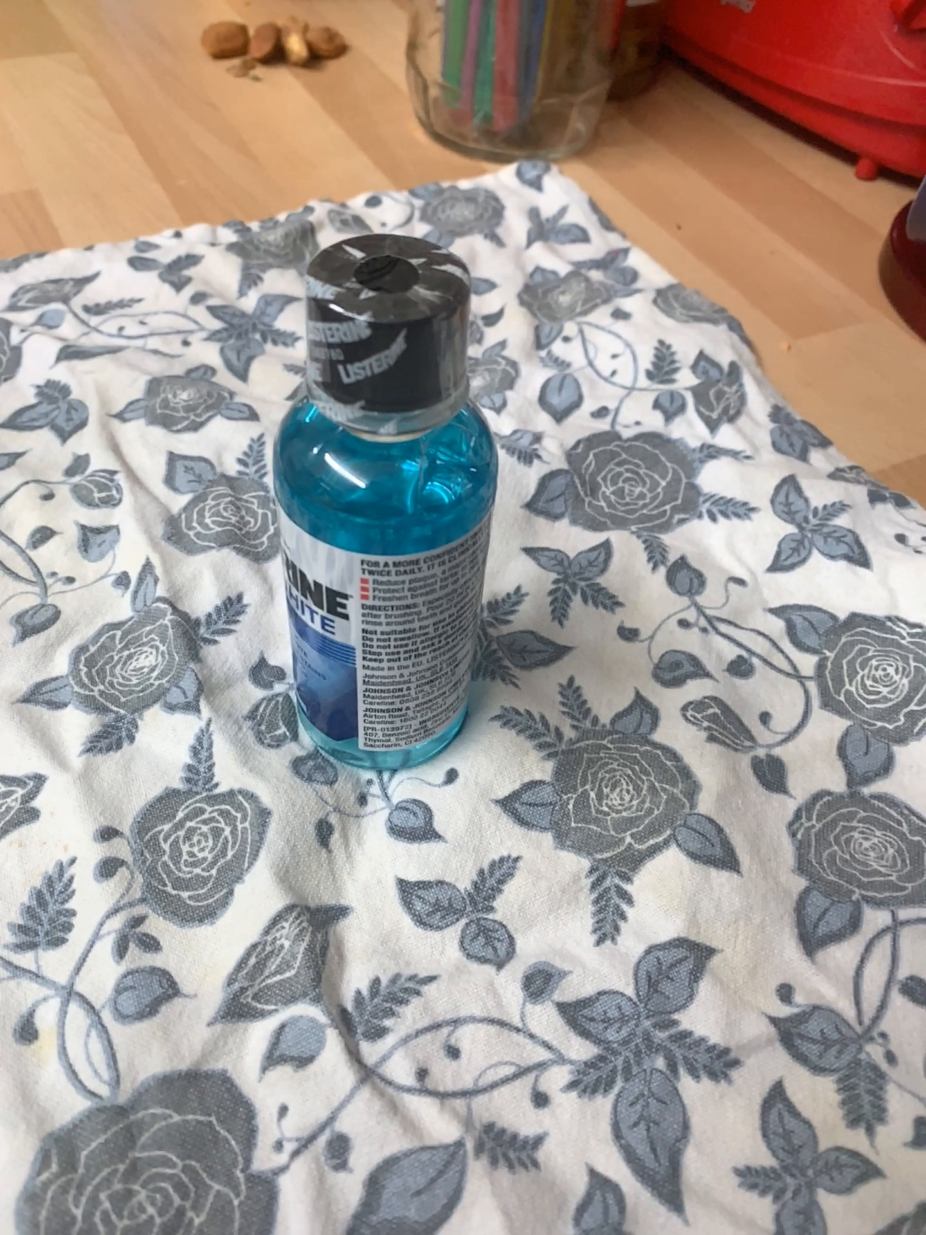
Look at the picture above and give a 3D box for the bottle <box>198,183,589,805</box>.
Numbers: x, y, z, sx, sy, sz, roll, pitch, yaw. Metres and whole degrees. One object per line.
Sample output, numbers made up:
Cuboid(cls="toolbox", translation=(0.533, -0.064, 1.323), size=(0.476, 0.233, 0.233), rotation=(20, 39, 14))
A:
Cuboid(cls="bottle", translation=(-0.013, -0.014, 0.181), size=(0.050, 0.109, 0.050), rotation=(3, 50, -3))
